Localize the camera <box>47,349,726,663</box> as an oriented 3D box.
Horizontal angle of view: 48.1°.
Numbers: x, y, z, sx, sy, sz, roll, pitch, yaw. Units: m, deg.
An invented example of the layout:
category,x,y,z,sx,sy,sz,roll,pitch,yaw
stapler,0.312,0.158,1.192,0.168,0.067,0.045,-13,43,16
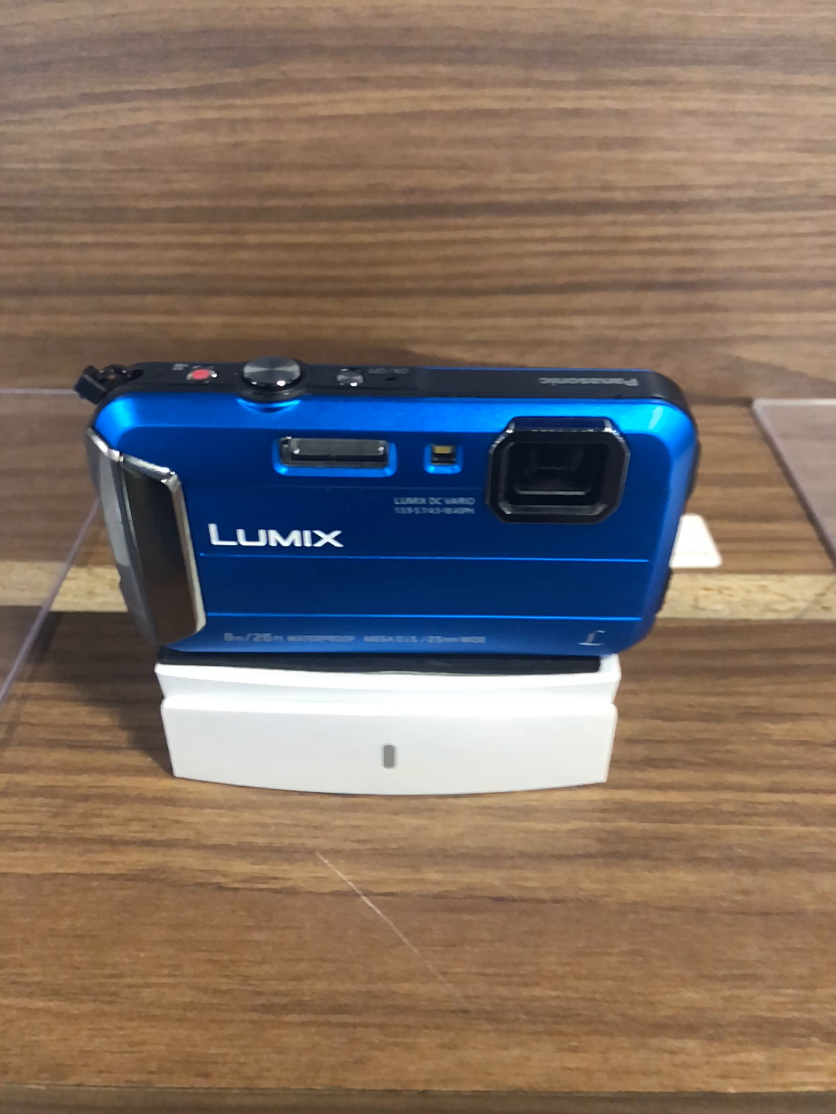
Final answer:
category,x,y,z,sx,sy,sz,roll,pitch,yaw
camera,-0.005,-0.008,0.164,0.100,0.051,0.023,0,41,0
